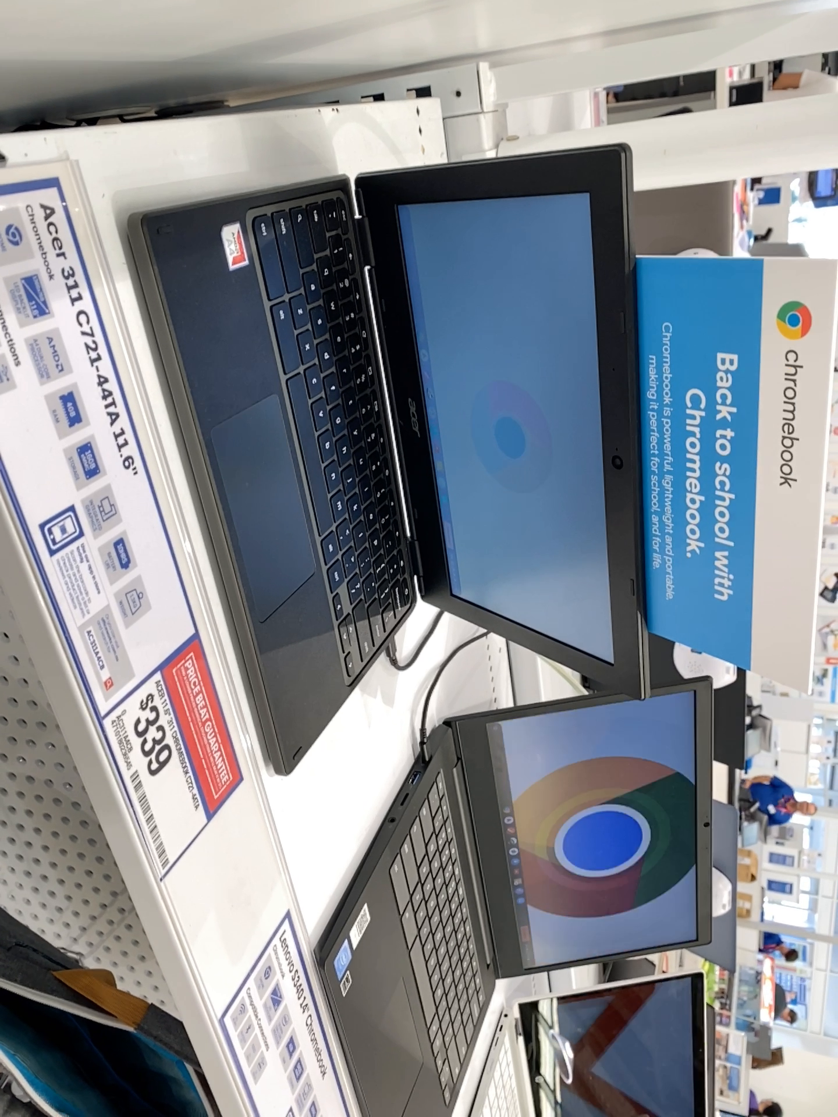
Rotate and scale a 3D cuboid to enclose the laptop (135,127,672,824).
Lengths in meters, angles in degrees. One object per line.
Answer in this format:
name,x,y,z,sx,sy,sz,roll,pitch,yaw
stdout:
laptop,0.026,-0.053,0.460,0.201,0.181,0.290,-51,138,-54
